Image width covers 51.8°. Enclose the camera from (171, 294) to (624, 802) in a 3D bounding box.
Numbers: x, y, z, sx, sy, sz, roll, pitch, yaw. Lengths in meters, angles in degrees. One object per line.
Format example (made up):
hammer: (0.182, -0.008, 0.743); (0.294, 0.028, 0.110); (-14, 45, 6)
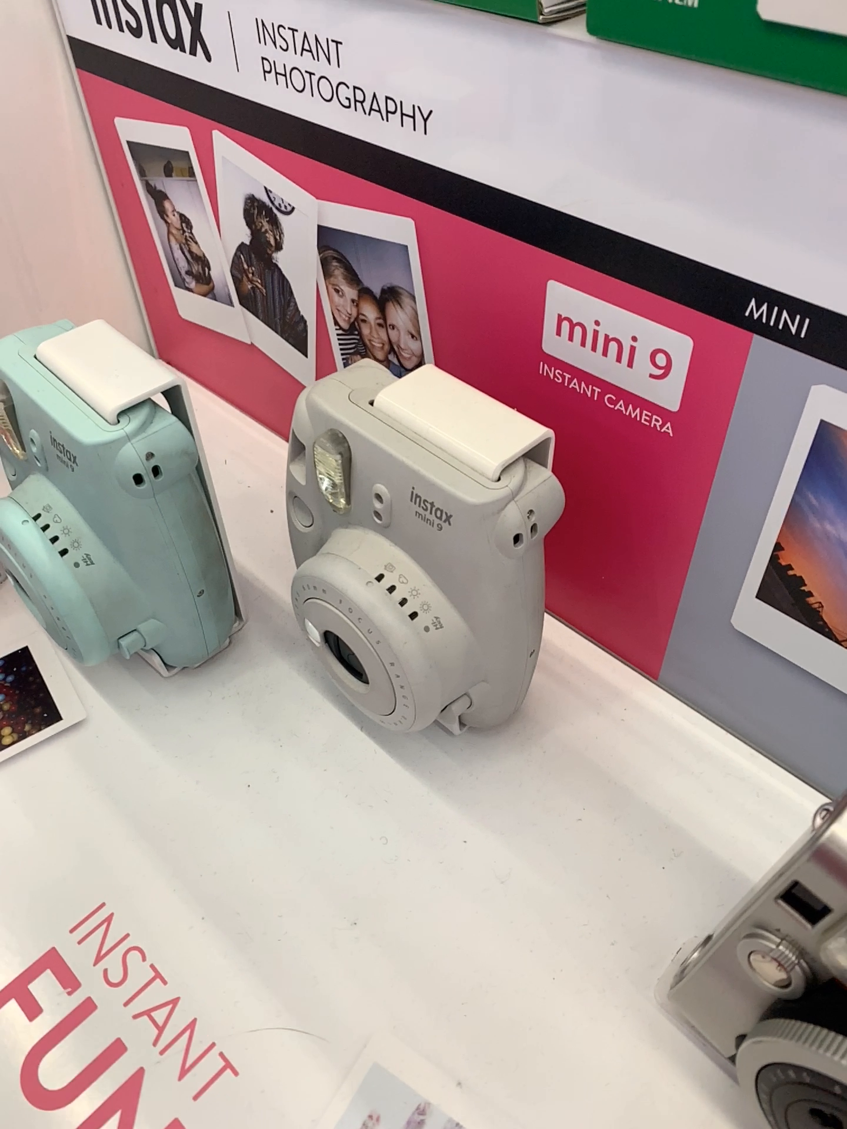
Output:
camera: (-0.009, -0.008, 0.297); (0.080, 0.109, 0.111); (-36, 55, -28)
